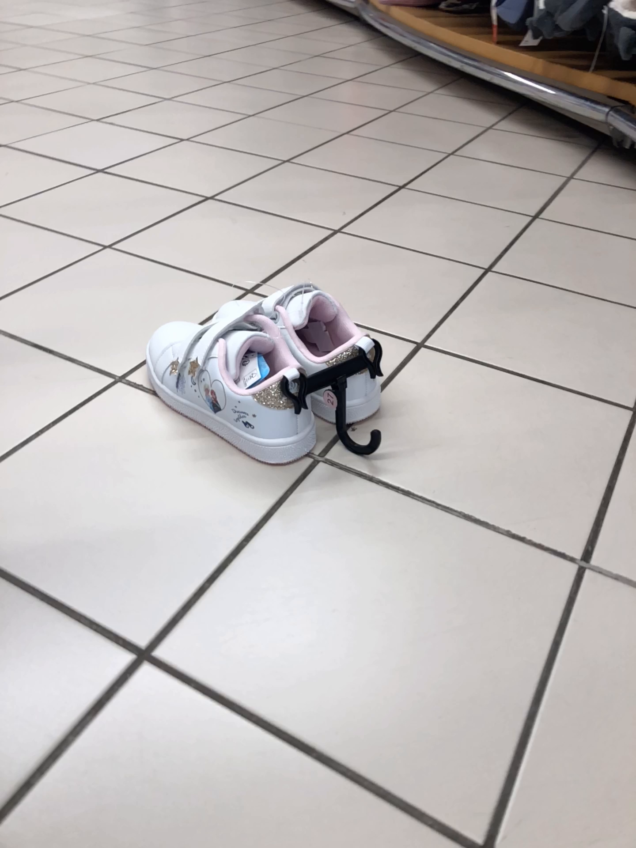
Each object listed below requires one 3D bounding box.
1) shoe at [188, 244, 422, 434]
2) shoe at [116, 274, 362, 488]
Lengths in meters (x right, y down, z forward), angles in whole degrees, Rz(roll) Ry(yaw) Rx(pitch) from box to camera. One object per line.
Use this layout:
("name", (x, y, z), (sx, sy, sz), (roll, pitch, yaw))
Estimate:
("shoe", (-0.018, -0.081, 0.601), (0.080, 0.070, 0.200), (-29, 47, -35))
("shoe", (-0.068, -0.043, 0.558), (0.080, 0.070, 0.200), (-29, 47, -35))
